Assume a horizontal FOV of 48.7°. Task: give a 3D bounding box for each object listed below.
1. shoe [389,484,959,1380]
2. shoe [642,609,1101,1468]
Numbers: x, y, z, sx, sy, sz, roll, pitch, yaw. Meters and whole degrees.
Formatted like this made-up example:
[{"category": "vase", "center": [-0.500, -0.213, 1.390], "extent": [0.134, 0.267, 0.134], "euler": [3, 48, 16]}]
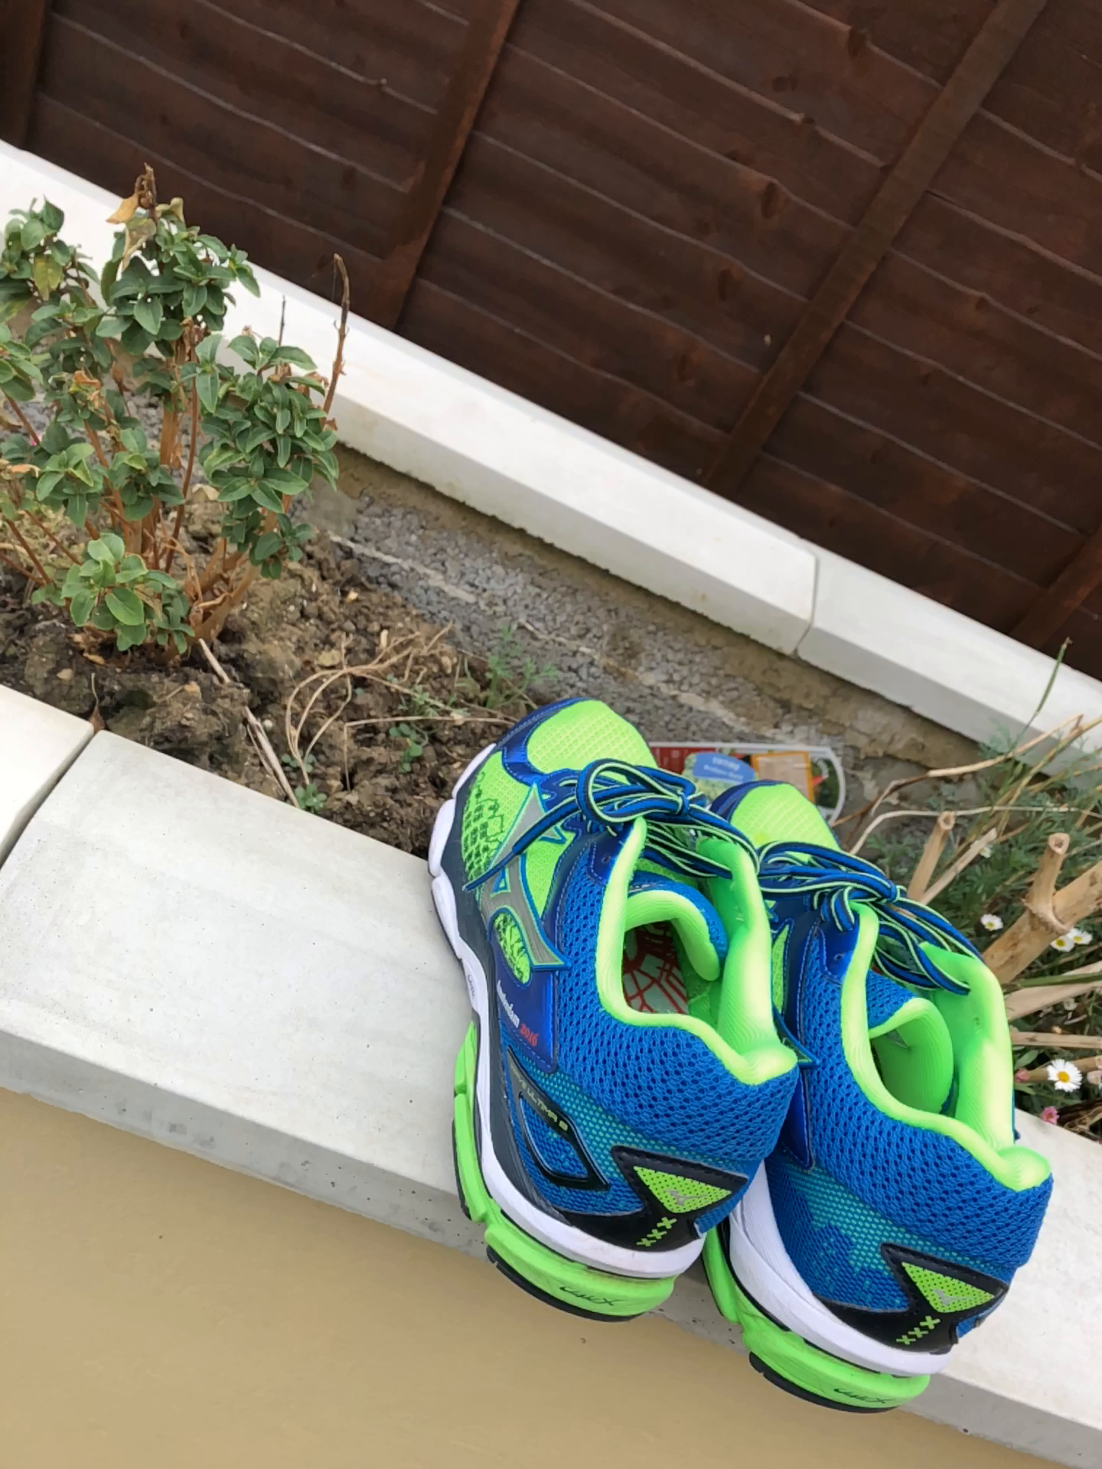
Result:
[{"category": "shoe", "center": [0.026, 0.048, 0.441], "extent": [0.110, 0.119, 0.292], "euler": [19, 36, -16]}, {"category": "shoe", "center": [0.112, 0.089, 0.463], "extent": [0.110, 0.119, 0.292], "euler": [23, 31, -11]}]
